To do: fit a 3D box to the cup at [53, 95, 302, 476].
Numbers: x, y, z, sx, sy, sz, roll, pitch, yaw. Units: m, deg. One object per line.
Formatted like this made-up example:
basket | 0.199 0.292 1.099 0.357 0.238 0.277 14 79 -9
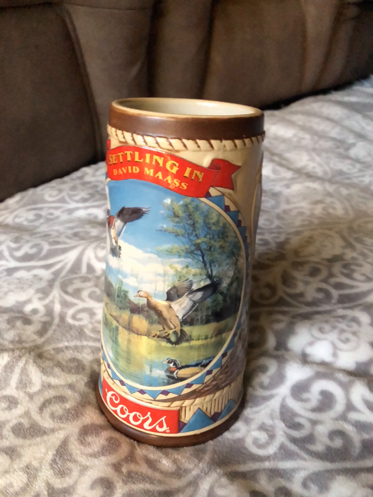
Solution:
cup | 0.004 0.005 0.274 0.098 0.189 0.145 11 23 16
